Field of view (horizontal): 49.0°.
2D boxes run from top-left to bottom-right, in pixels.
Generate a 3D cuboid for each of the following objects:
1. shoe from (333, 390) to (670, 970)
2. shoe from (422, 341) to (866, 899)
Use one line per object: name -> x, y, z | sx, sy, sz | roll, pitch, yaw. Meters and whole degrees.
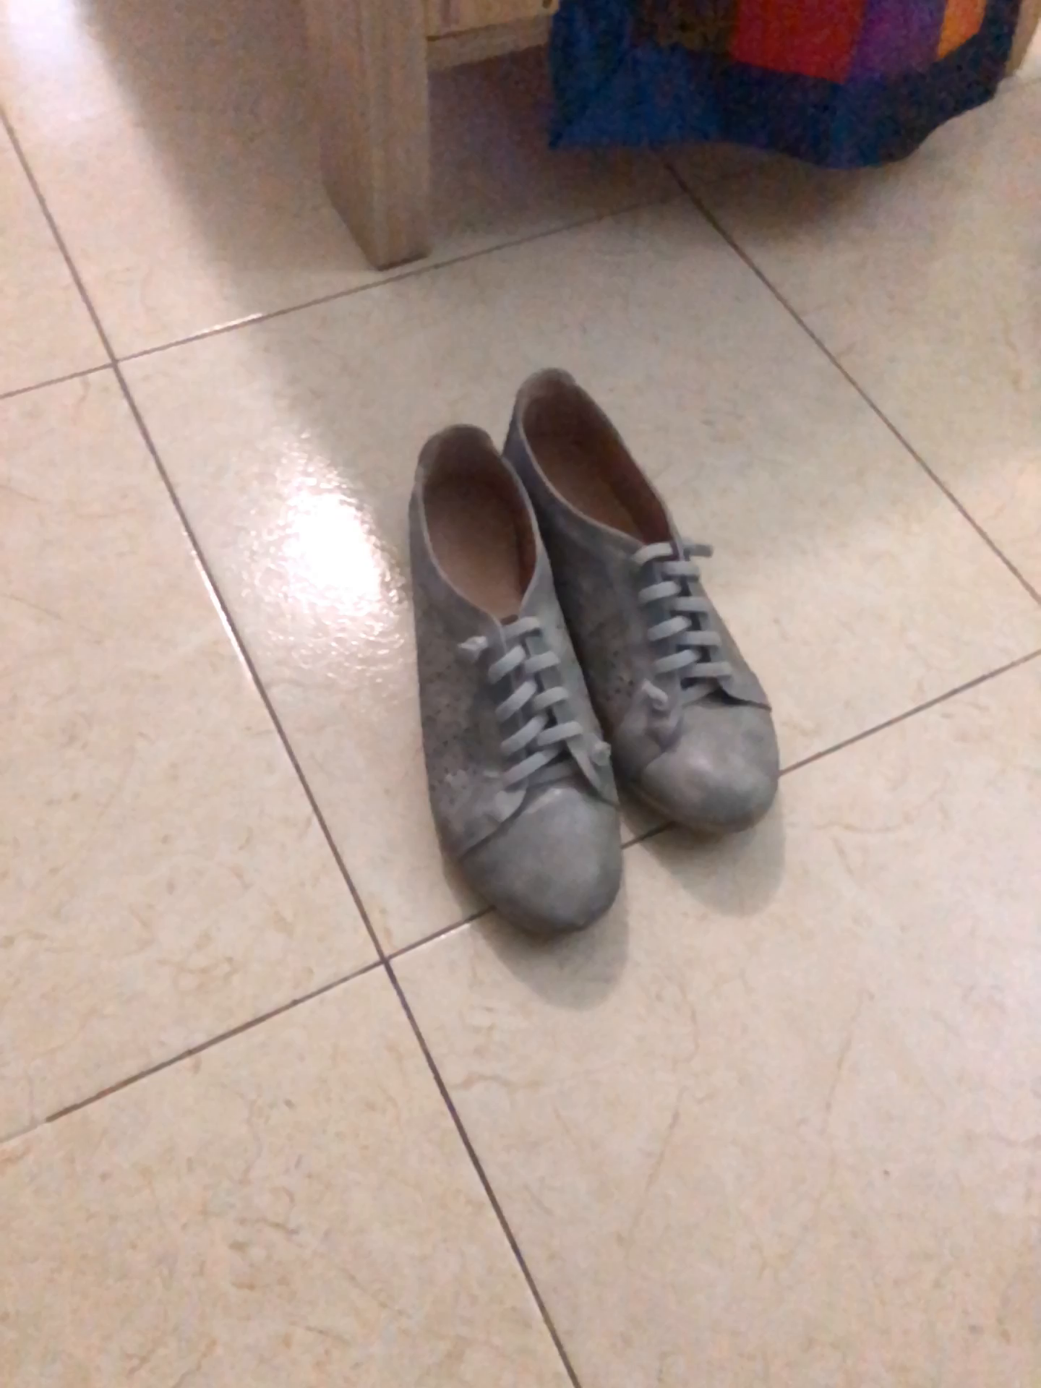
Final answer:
shoe -> -0.021, -0.016, 0.618 | 0.100, 0.100, 0.290 | -12, 61, -10
shoe -> 0.052, -0.049, 0.635 | 0.100, 0.100, 0.290 | -22, 63, -15
